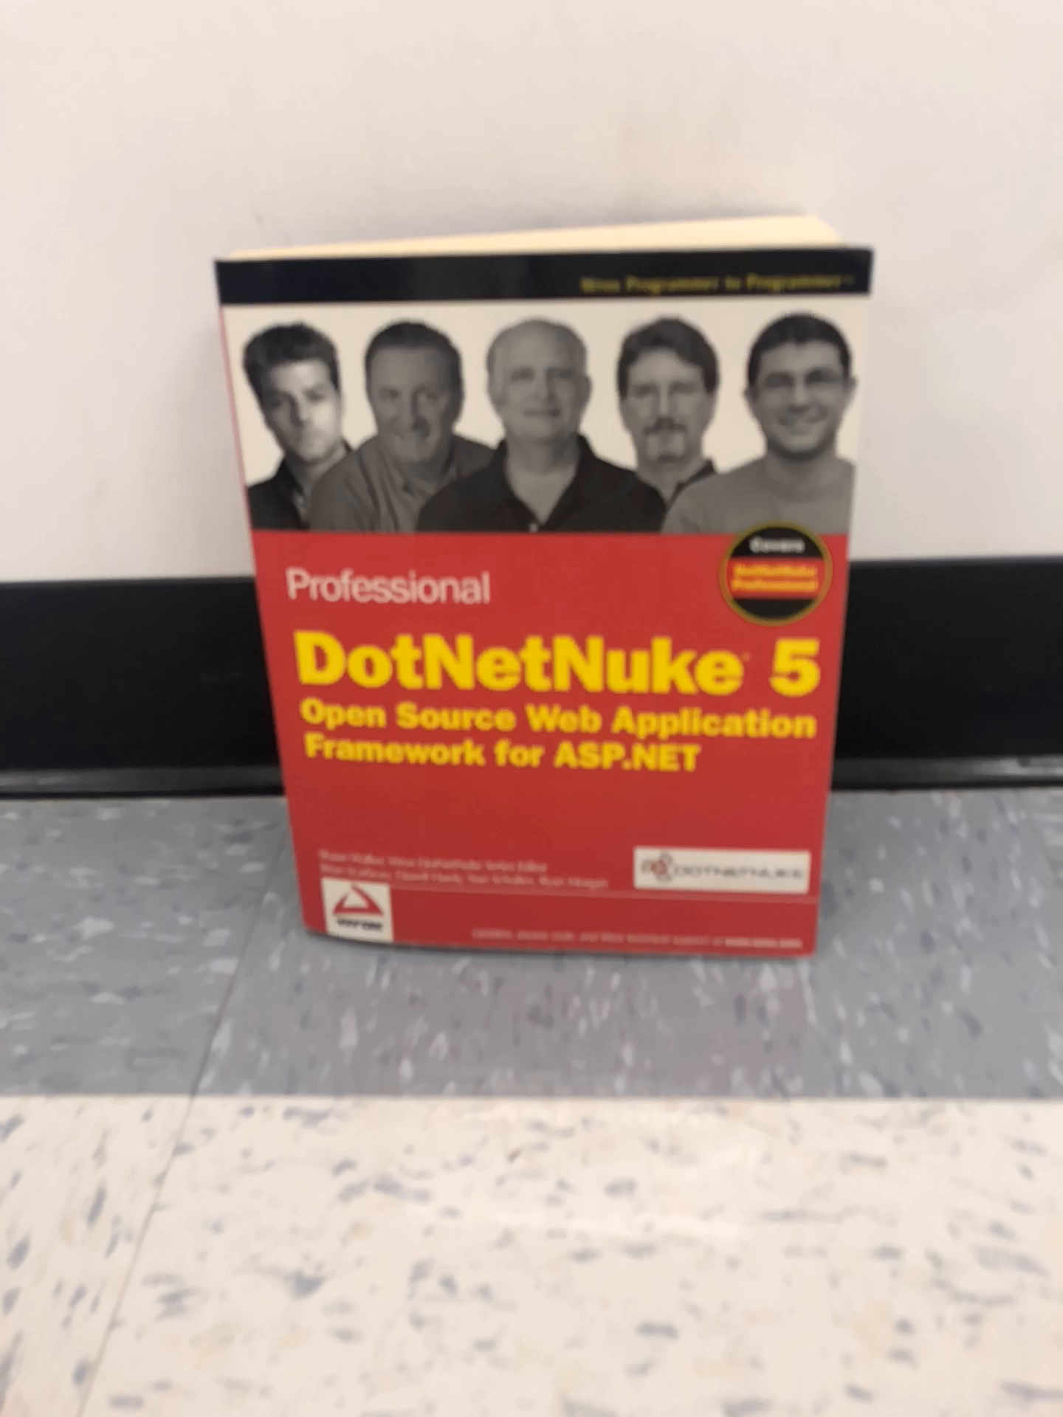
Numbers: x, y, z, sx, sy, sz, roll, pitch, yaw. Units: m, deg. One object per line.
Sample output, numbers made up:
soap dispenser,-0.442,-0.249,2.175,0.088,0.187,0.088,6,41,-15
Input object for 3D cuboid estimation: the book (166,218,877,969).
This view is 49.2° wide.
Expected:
book,0.000,-0.036,0.413,0.210,0.249,0.060,1,22,7
